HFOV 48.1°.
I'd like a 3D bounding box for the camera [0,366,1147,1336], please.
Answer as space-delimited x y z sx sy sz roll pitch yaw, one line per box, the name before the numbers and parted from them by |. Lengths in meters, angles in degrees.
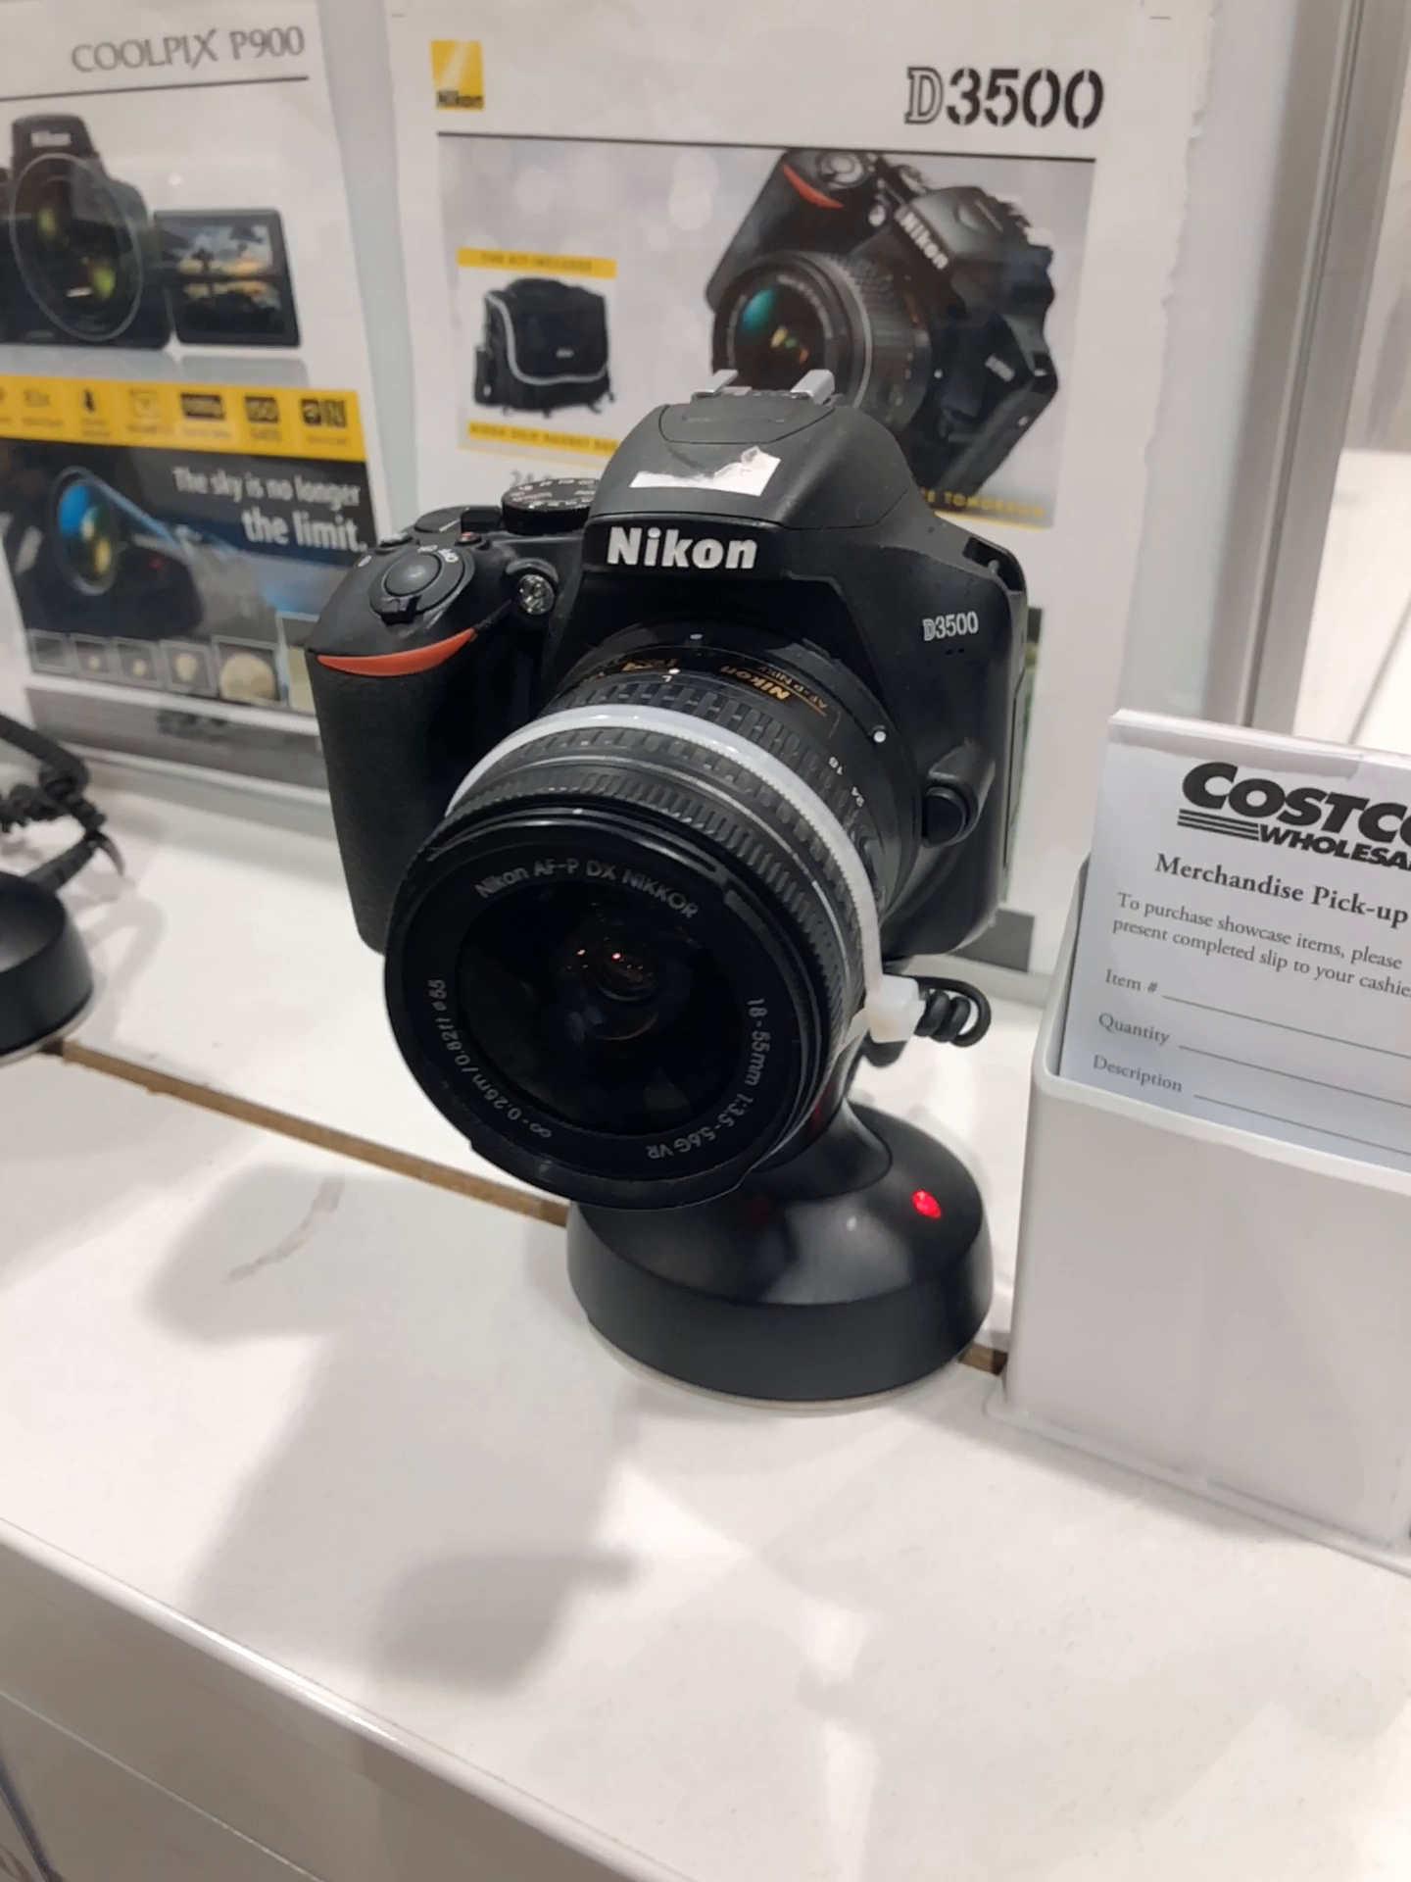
camera | -0.010 -0.027 0.248 0.140 0.100 0.120 5 30 12
